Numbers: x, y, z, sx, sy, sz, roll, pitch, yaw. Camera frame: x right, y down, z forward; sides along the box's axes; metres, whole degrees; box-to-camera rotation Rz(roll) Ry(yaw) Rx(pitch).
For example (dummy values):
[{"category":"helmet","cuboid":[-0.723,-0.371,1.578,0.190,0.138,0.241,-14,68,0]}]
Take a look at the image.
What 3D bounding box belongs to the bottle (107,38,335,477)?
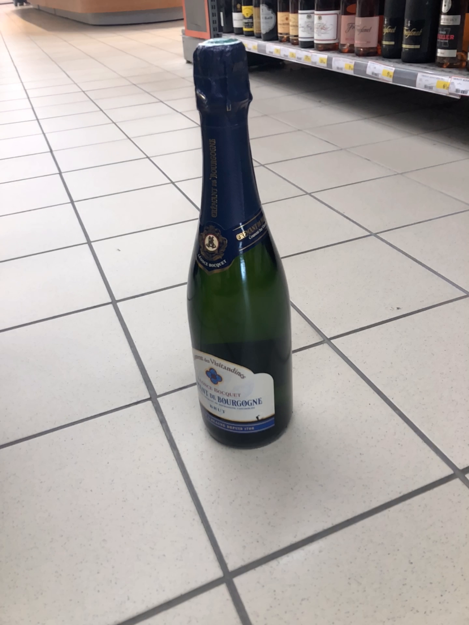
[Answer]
[{"category":"bottle","cuboid":[0.003,-0.033,0.399,0.100,0.308,0.101,-3,32,2]}]
